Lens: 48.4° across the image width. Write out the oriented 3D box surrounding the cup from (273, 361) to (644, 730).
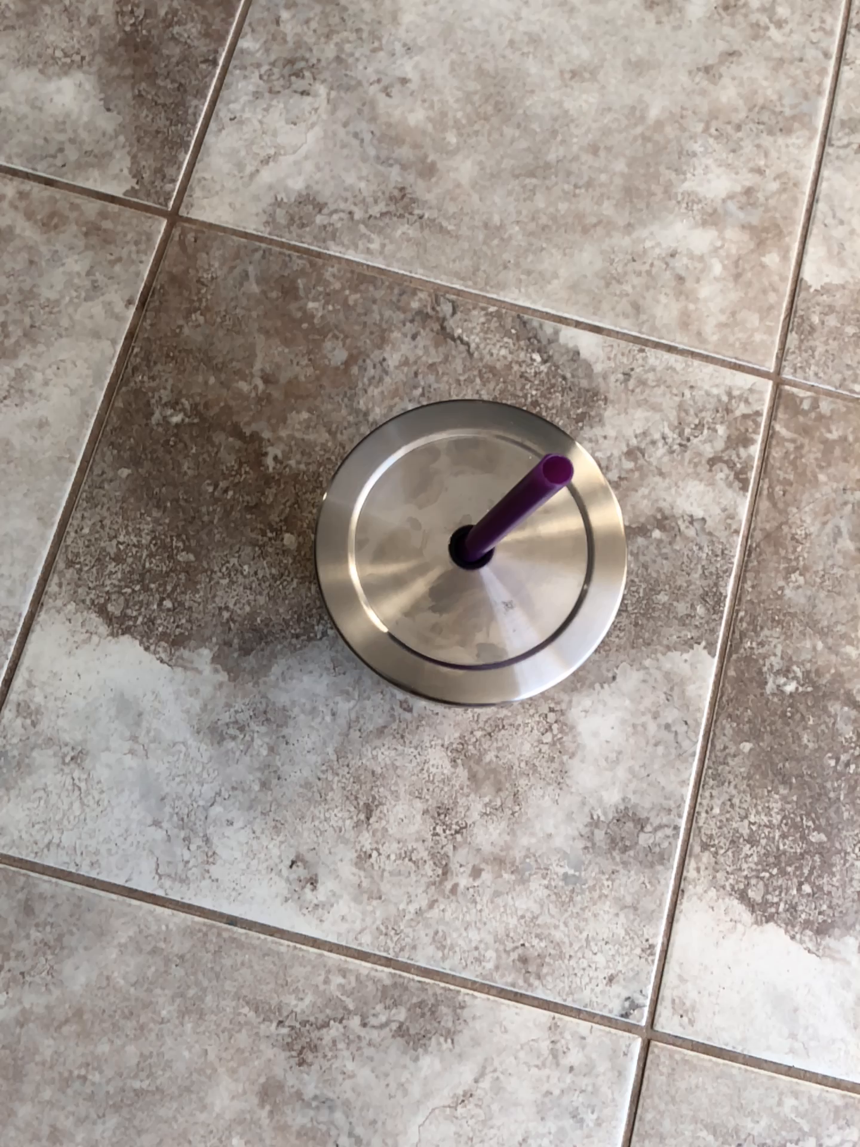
[{"bbox_3d":[0.007,0.002,0.394,0.111,0.165,0.102,1,78,-3],"label":"cup"}]
